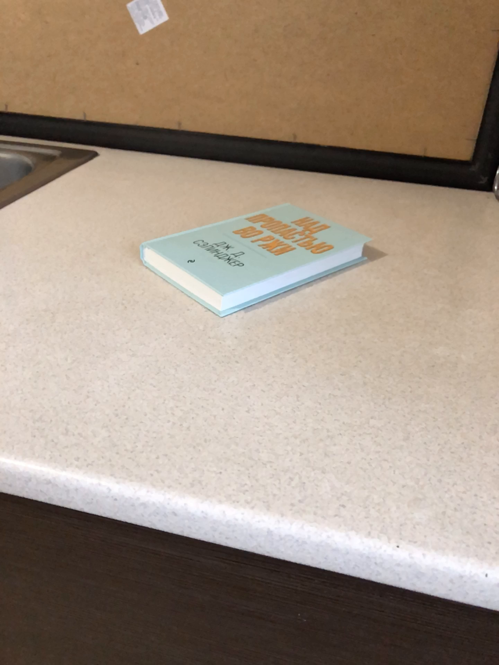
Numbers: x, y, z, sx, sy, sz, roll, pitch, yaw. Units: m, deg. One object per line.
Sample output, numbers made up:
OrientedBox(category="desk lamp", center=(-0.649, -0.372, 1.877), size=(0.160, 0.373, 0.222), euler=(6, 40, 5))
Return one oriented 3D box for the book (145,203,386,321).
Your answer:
OrientedBox(category="book", center=(0.016, -0.070, 0.478), size=(0.176, 0.020, 0.115), euler=(-23, 40, -34))
